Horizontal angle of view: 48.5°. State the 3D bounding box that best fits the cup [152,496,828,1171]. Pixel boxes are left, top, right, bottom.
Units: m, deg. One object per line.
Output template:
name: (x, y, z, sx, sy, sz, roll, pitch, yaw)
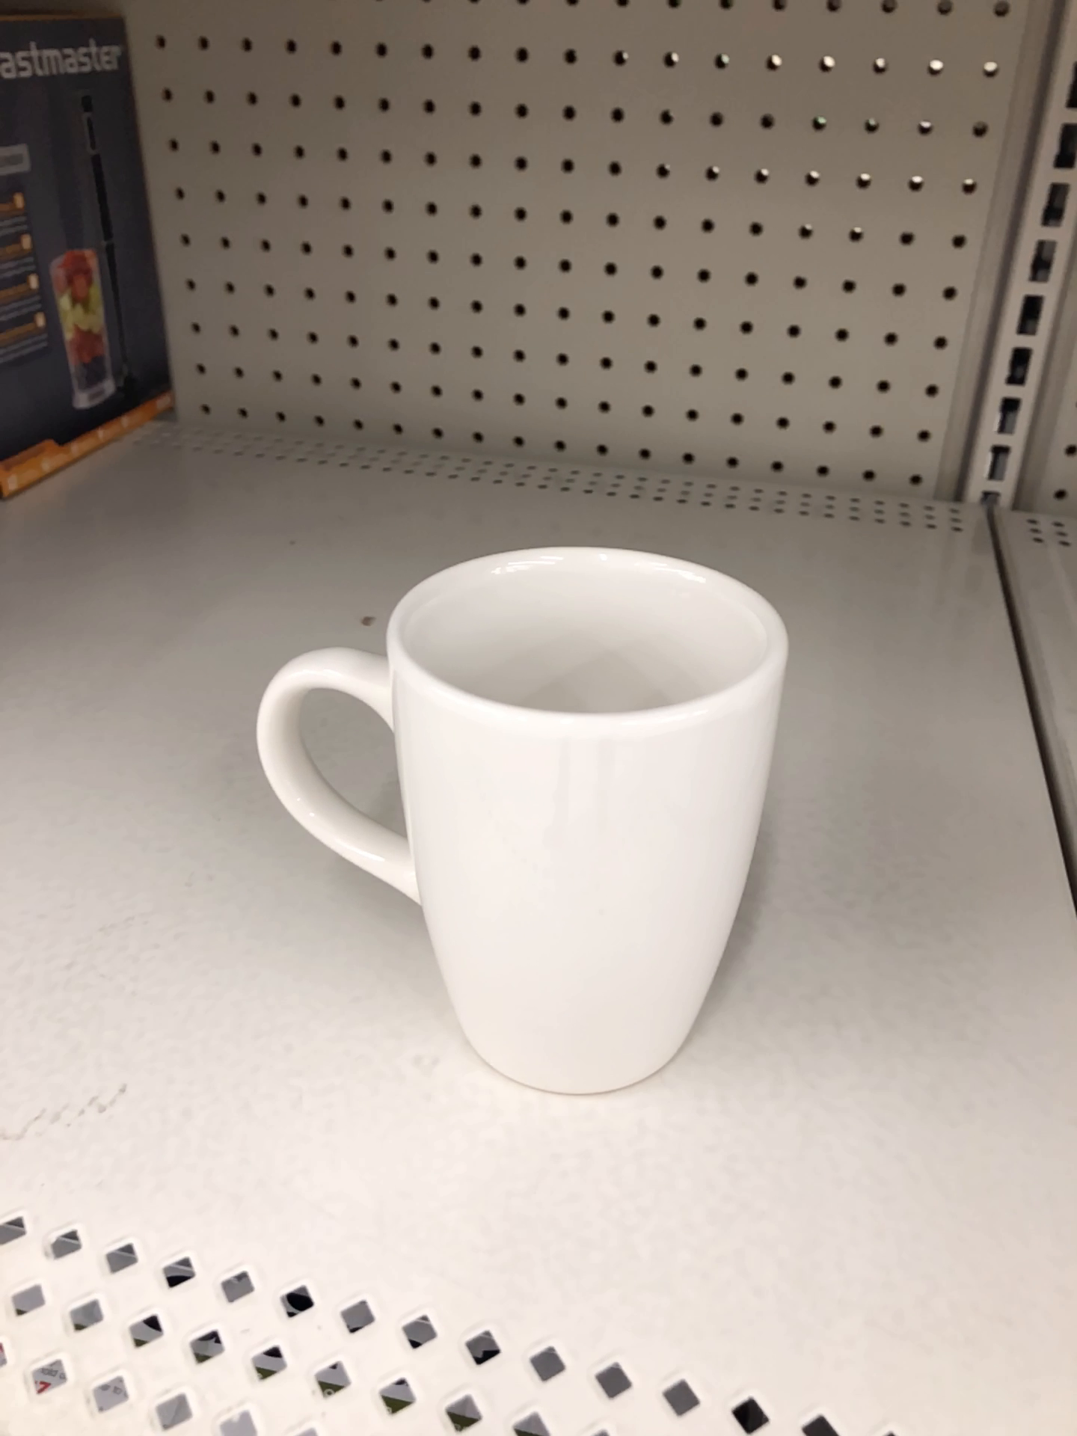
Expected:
cup: (-0.009, 0.020, 0.289, 0.125, 0.105, 0.081, 15, 33, 22)
